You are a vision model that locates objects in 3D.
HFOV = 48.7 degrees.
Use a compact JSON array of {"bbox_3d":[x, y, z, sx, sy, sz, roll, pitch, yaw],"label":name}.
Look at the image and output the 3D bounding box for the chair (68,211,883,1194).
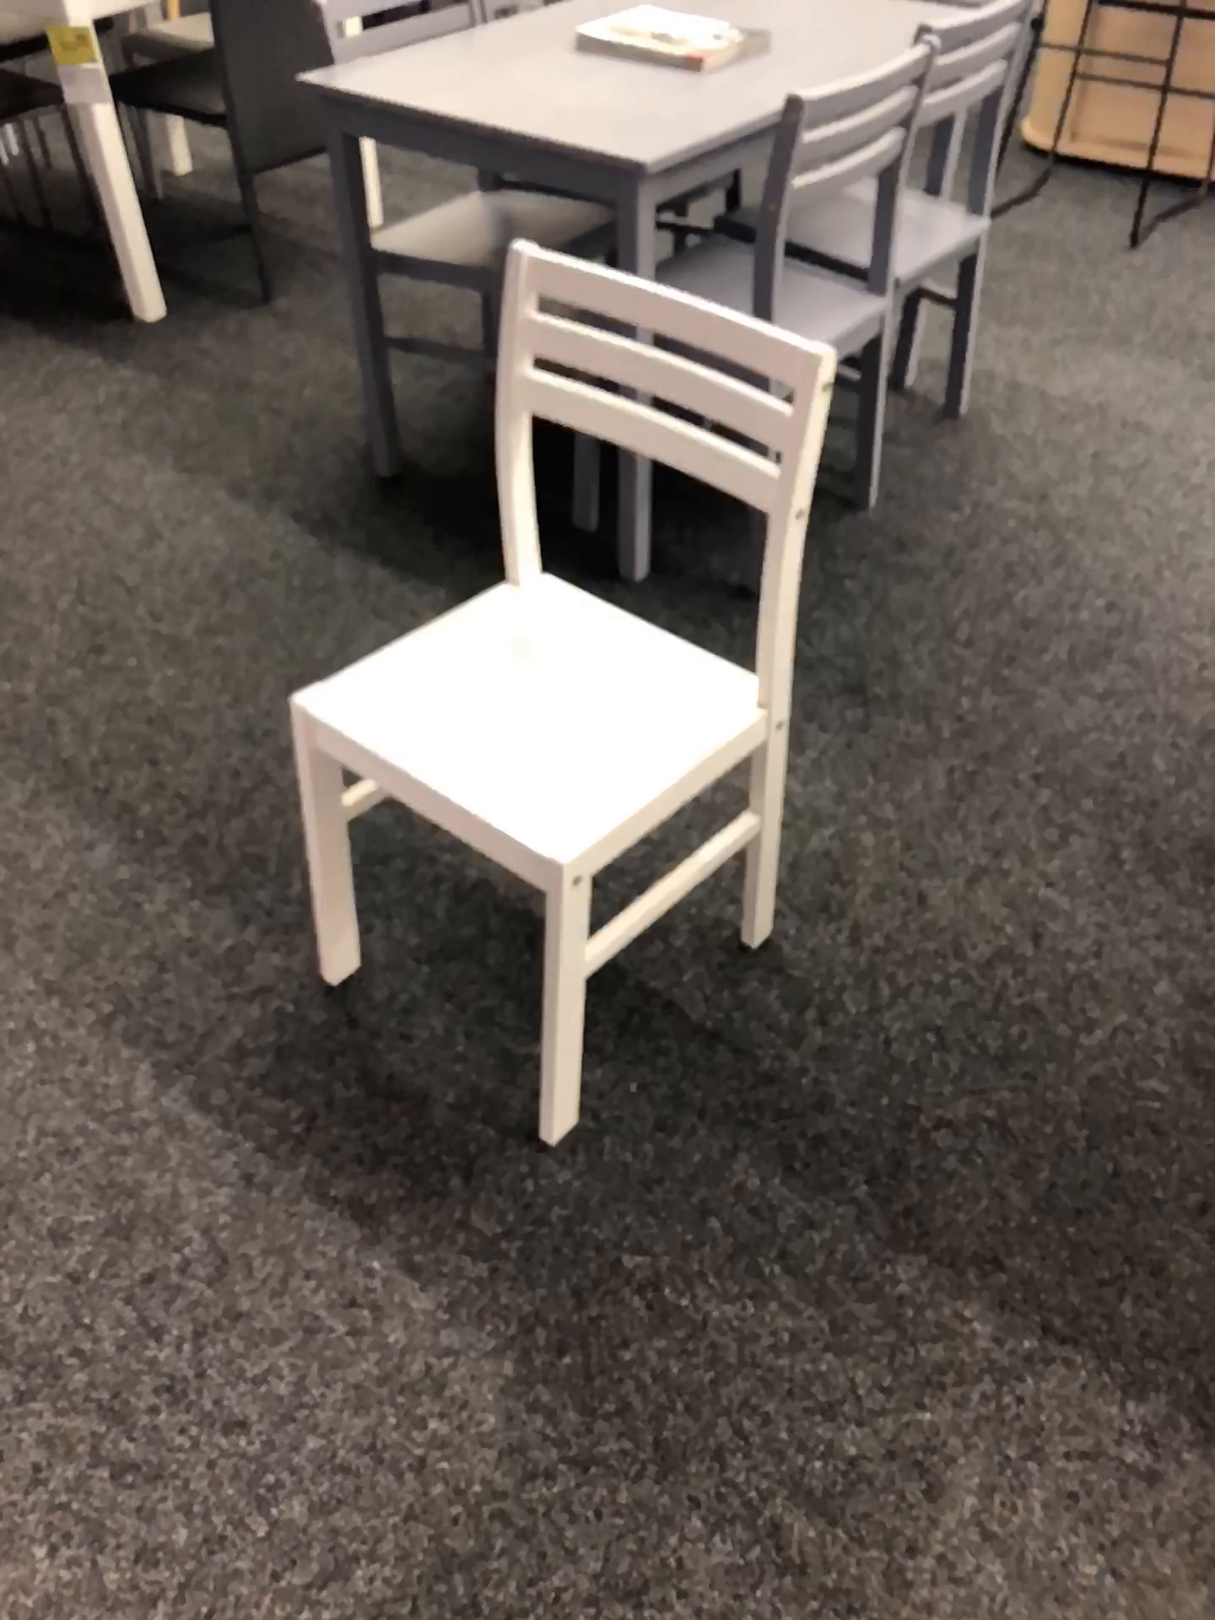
[{"bbox_3d":[-0.105,-0.119,1.421,0.500,0.765,0.503,29,50,30],"label":"chair"}]
